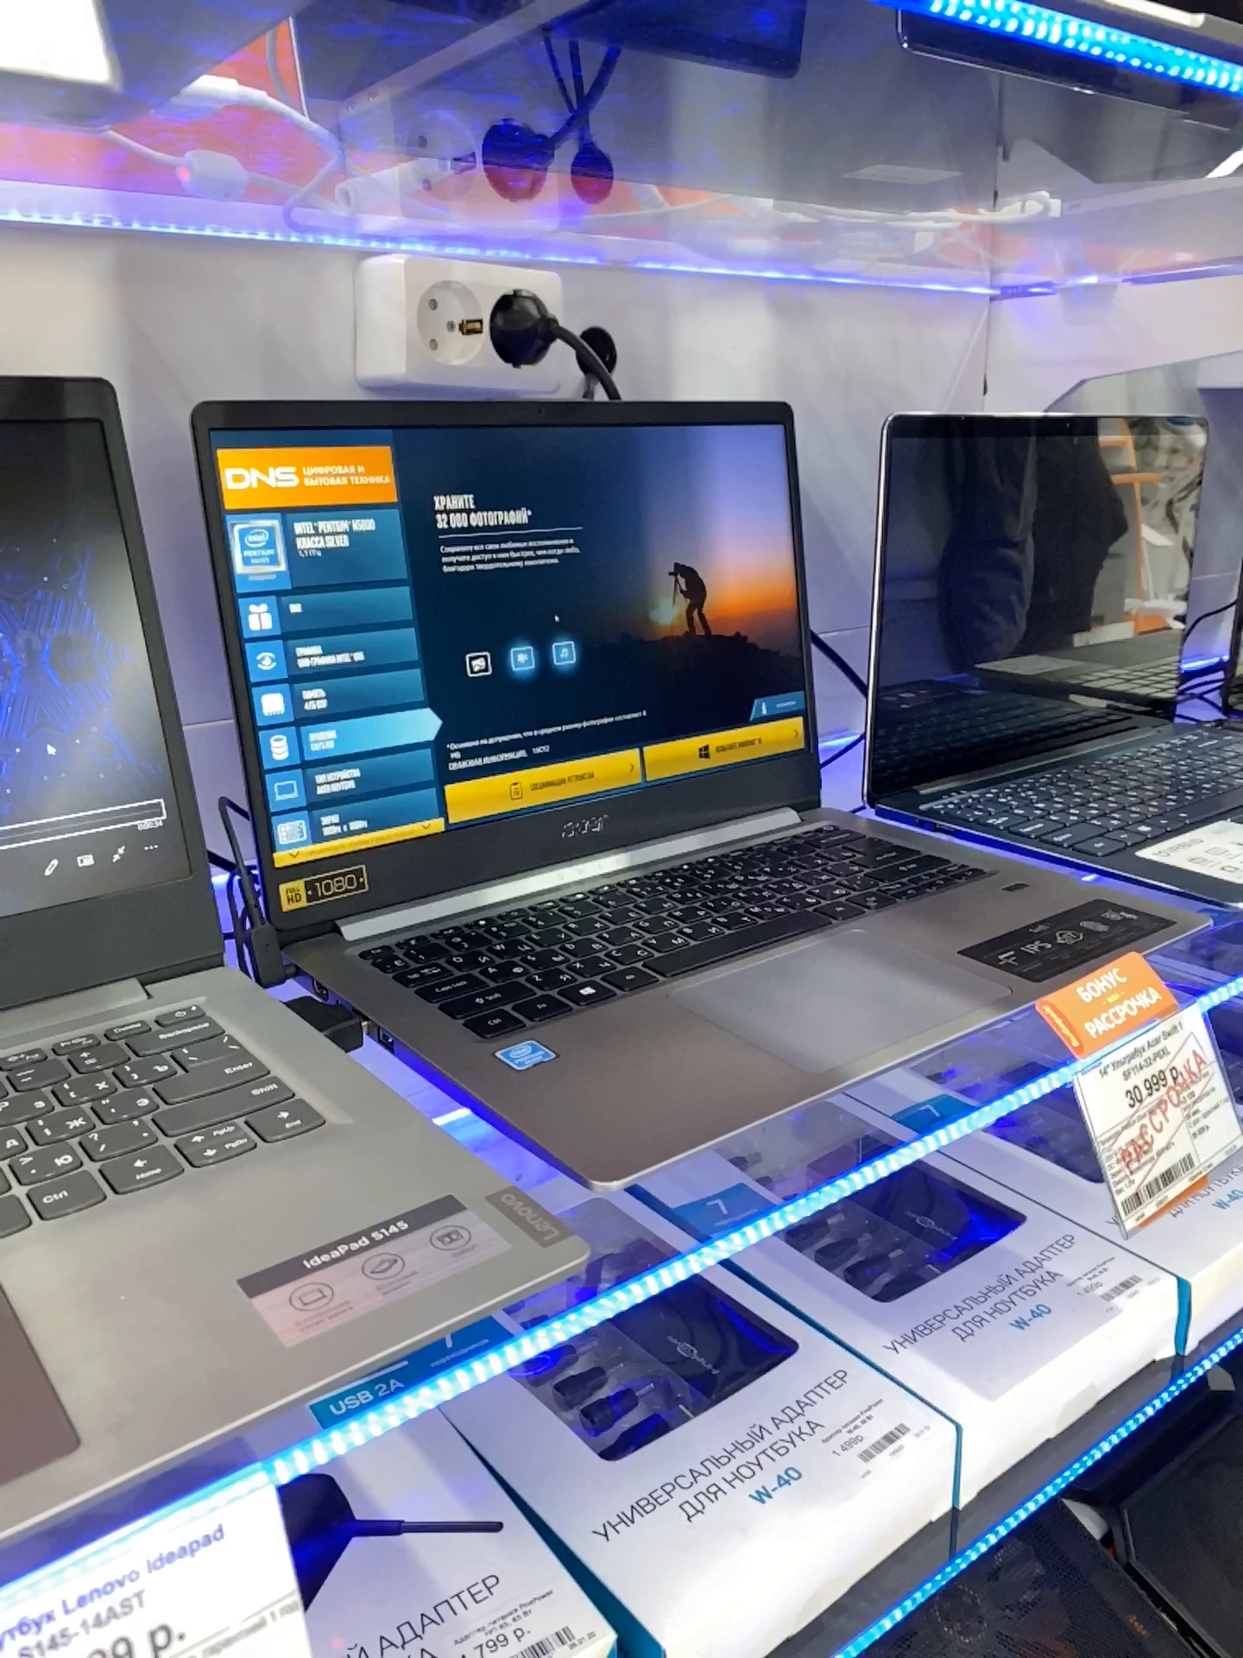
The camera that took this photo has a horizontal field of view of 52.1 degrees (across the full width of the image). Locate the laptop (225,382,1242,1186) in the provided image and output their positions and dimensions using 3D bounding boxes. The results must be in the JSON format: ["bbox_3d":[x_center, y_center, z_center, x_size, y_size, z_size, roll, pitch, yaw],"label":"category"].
[{"bbox_3d":[0.052,-0.064,0.509,0.319,0.206,0.257,-13,22,-36],"label":"laptop"}]
